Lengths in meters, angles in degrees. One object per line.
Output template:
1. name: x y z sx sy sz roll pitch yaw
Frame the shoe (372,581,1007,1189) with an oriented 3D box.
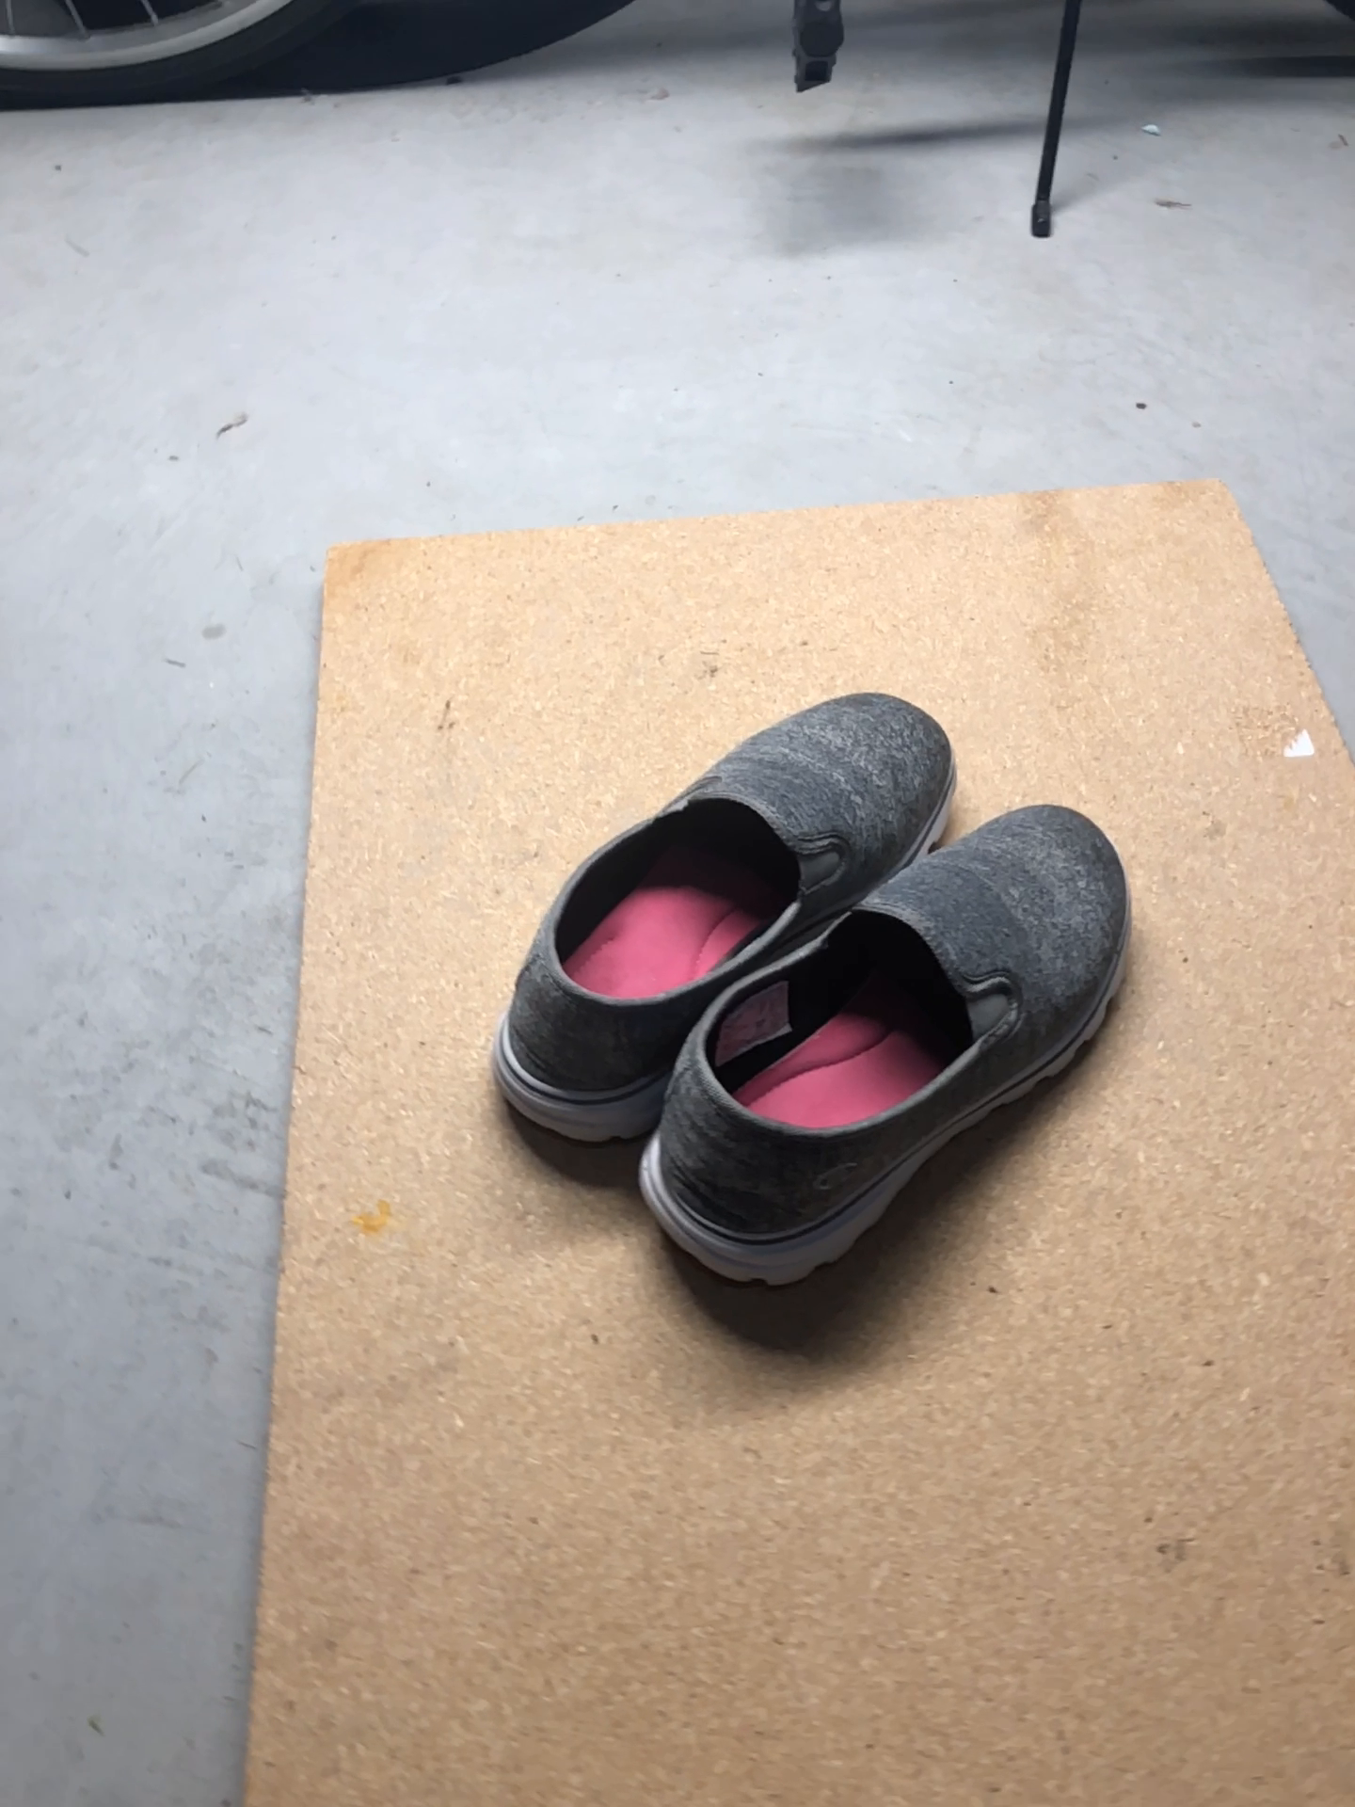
1. shoe: 0.012 -0.016 0.606 0.100 0.073 0.250 37 63 24

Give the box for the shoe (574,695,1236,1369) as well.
1. shoe: 0.088 0.038 0.560 0.100 0.070 0.250 37 63 24
